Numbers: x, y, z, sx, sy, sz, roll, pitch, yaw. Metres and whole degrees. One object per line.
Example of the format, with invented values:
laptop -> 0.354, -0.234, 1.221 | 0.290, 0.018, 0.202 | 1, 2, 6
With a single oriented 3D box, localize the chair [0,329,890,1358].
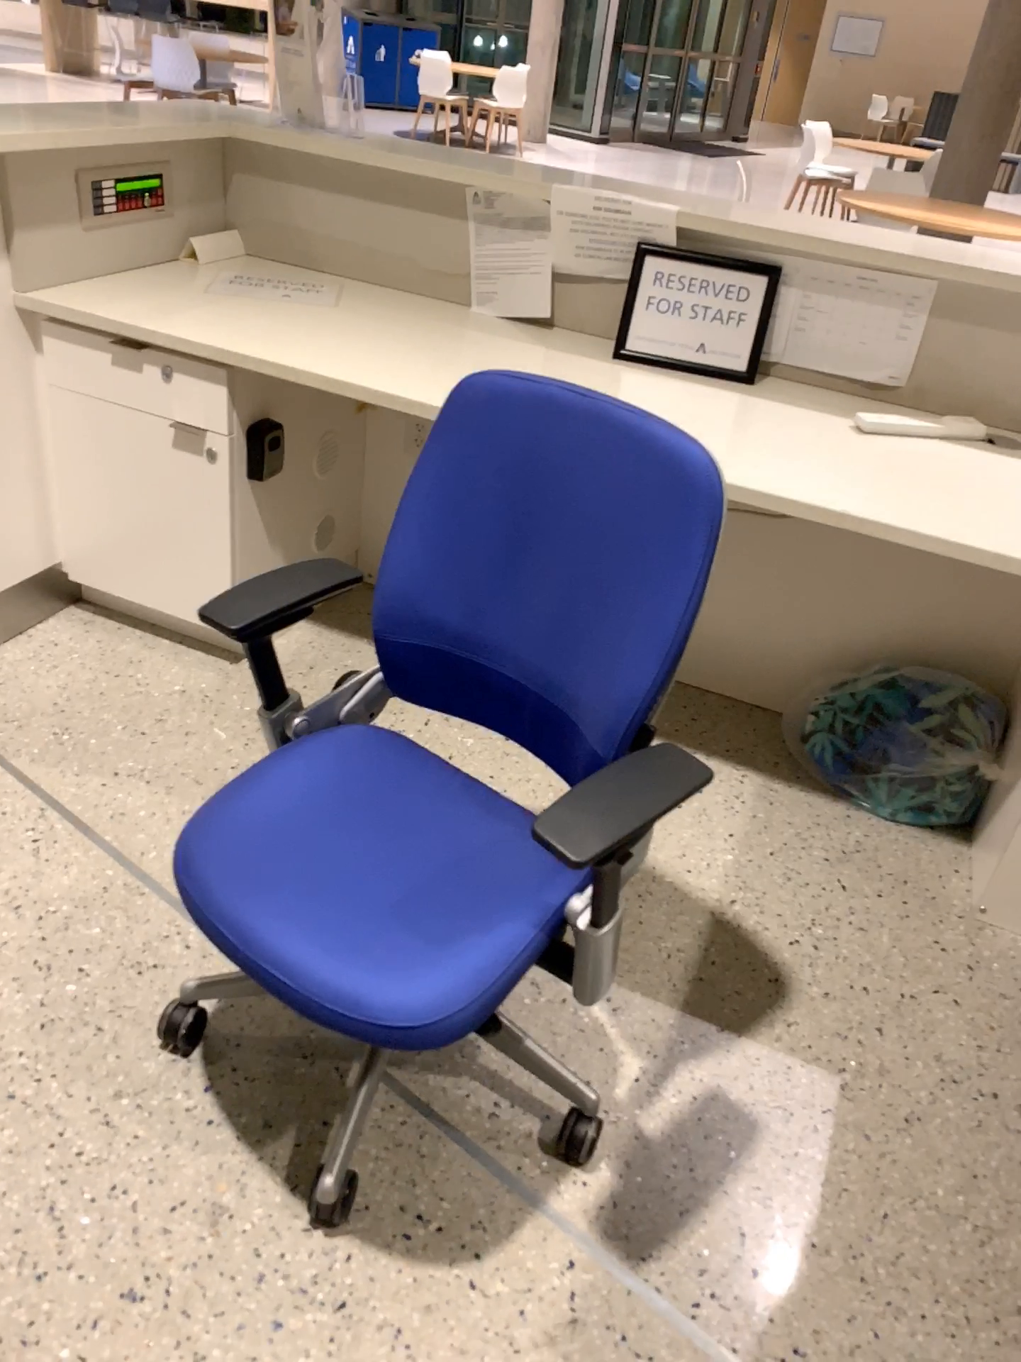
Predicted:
chair -> -0.096, 0.127, 1.315 | 0.688, 0.879, 0.651 | 28, 37, 28
